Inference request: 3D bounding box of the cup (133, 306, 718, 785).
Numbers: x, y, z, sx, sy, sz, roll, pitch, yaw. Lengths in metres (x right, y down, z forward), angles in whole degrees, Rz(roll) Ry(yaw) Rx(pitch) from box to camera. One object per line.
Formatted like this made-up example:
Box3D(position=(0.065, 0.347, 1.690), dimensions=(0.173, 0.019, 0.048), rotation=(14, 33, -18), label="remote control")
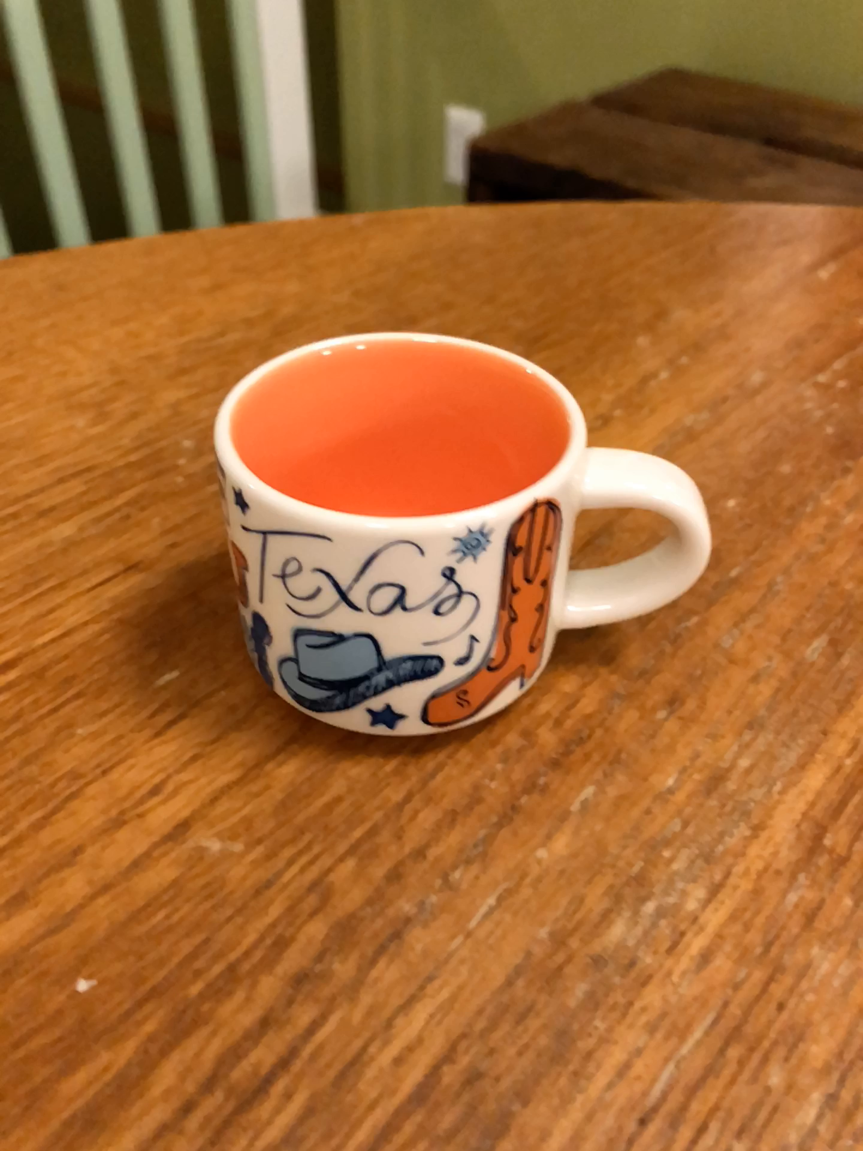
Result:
Box3D(position=(0.002, -0.008, 0.165), dimensions=(0.076, 0.046, 0.064), rotation=(4, 40, 4), label="cup")
